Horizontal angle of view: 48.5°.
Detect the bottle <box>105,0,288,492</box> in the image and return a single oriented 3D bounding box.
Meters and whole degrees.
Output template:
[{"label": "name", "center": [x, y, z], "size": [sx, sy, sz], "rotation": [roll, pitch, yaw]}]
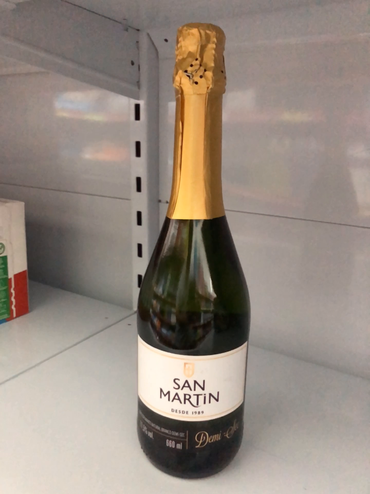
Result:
[{"label": "bottle", "center": [0.007, -0.001, 0.278], "size": [0.090, 0.308, 0.080], "rotation": [3, 14, 7]}]
